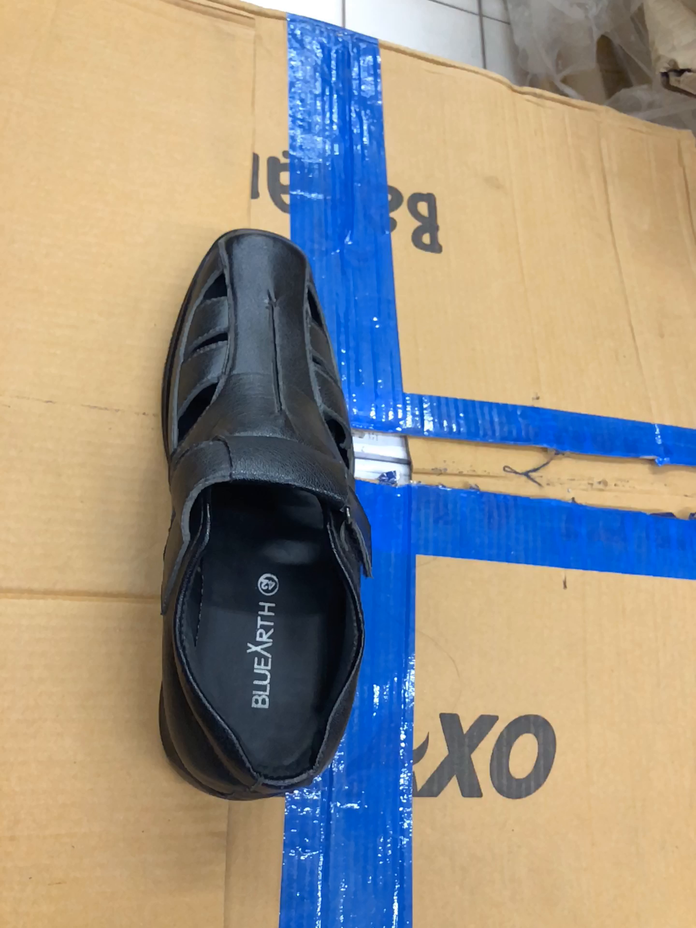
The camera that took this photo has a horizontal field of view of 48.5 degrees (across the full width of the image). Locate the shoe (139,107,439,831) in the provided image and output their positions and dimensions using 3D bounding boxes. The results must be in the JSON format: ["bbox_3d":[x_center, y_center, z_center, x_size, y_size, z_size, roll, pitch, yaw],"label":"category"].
[{"bbox_3d":[-0.034,-0.001,0.365,0.100,0.100,0.301,5,70,-19],"label":"shoe"}]
